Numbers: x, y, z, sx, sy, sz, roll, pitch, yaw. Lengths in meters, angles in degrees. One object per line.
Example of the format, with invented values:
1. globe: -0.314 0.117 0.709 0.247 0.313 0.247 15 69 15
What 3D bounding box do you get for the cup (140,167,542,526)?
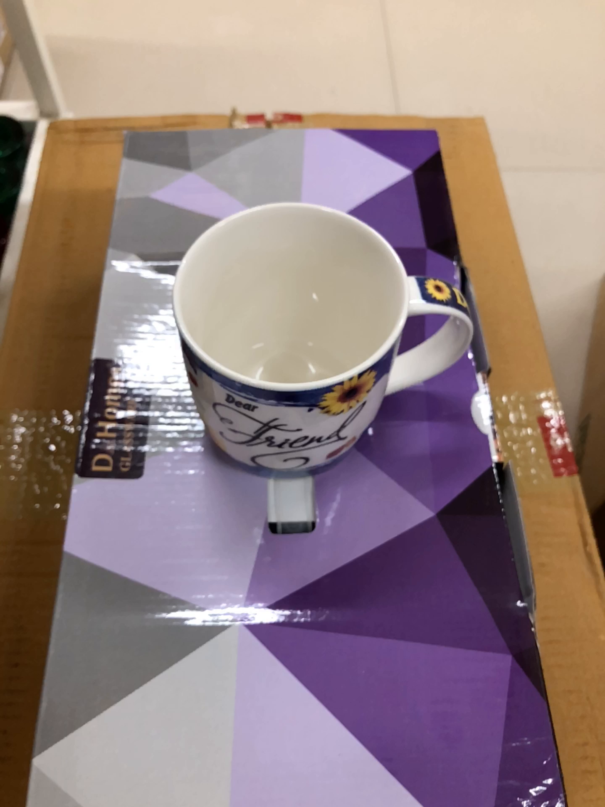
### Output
1. cup: 0.011 -0.021 0.278 0.120 0.090 0.080 -18 63 -11
